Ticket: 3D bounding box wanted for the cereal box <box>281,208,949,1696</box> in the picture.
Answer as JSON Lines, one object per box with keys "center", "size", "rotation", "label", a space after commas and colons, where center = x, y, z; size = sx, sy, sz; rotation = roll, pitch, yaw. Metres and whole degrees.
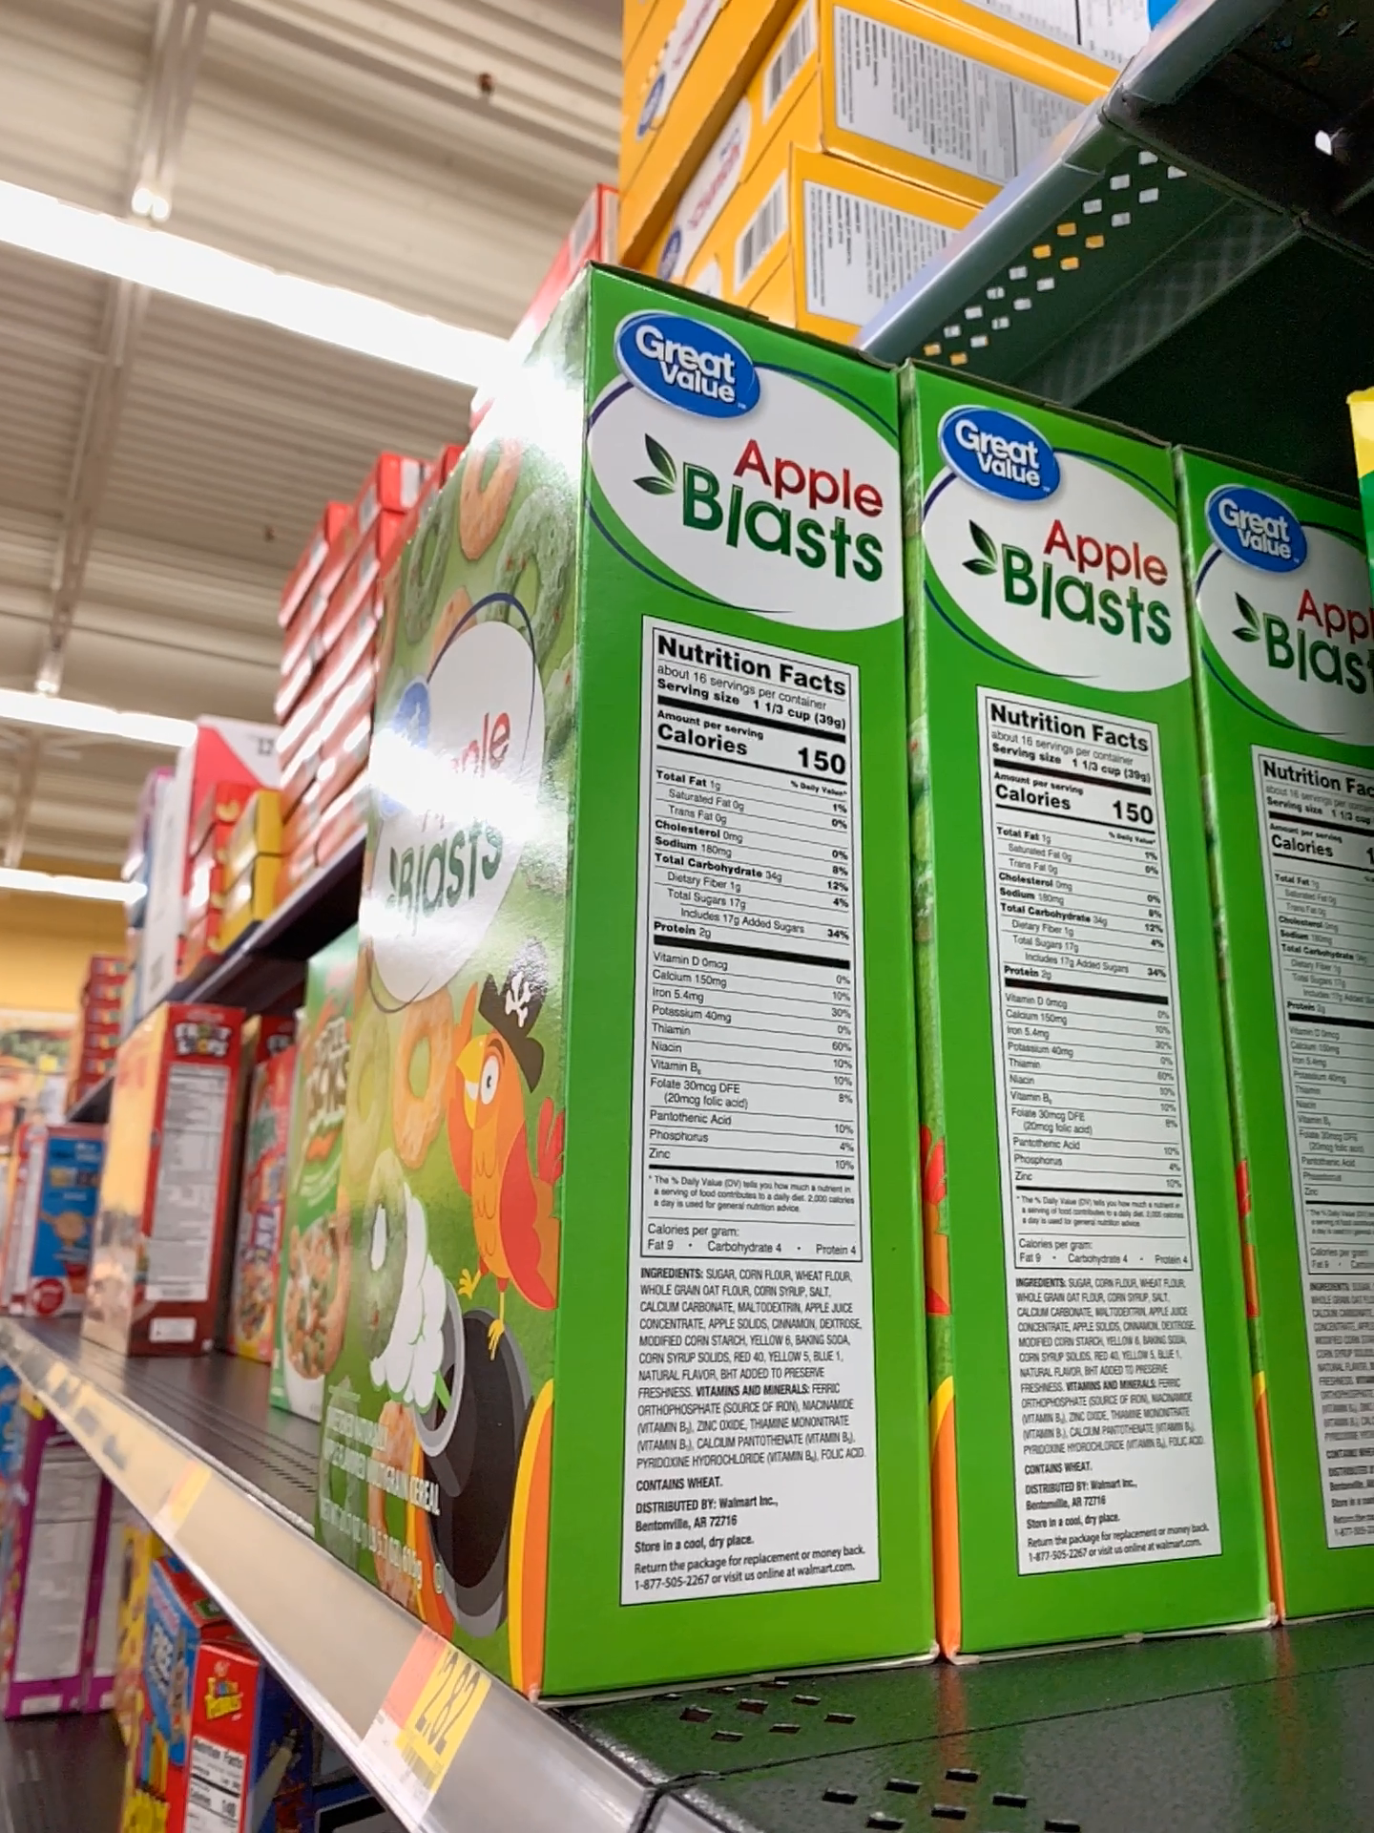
{"center": [-0.030, 0.013, 0.416], "size": [0.100, 0.331, 0.200], "rotation": [9, -17, -26], "label": "cereal box"}
